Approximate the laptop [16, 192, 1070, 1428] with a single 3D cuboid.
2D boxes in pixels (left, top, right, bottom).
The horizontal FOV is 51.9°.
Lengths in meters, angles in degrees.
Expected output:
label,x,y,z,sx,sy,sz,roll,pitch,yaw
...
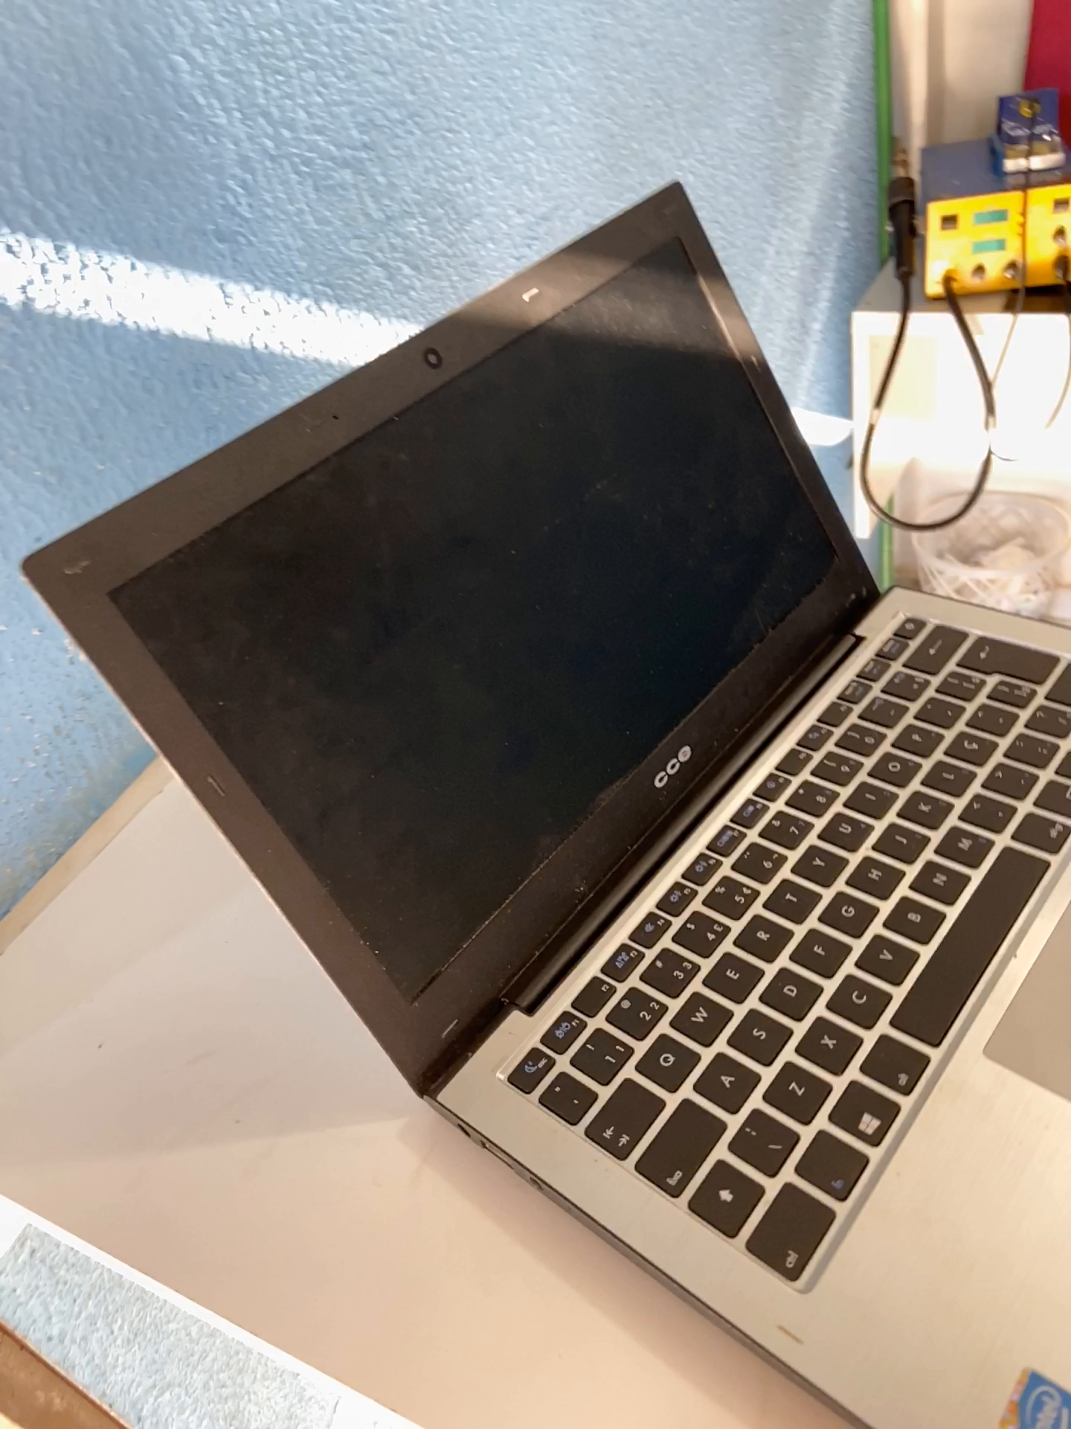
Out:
label,x,y,z,sx,sy,sz,roll,pitch,yaw
laptop,0.090,-0.016,0.346,0.304,0.181,0.314,22,50,37
